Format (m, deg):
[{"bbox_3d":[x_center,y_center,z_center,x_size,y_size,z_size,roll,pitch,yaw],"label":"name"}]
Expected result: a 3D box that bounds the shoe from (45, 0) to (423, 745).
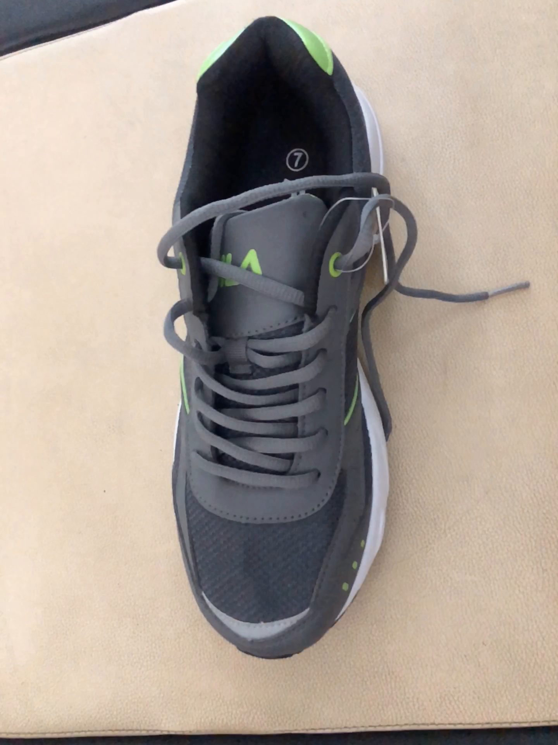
[{"bbox_3d":[-0.008,-0.027,0.289,0.130,0.100,0.320,-3,78,17],"label":"shoe"}]
